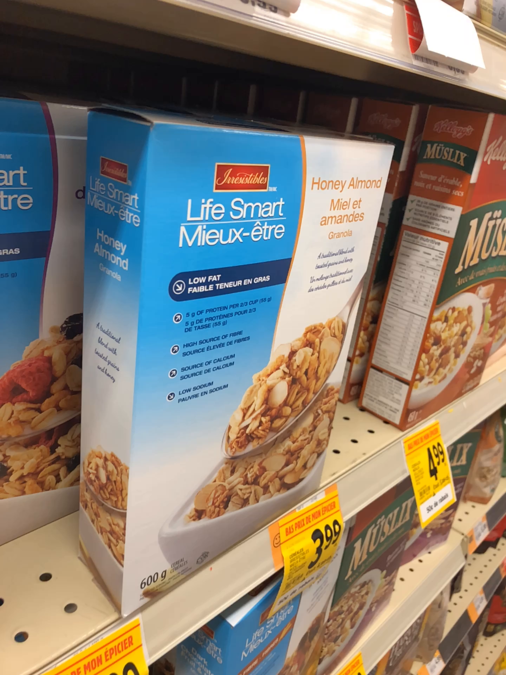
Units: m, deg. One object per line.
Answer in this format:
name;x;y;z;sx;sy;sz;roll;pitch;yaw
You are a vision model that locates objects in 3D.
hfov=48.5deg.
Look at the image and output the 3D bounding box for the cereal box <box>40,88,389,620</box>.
cereal box;-0.022;0.004;0.313;0.060;0.238;0.171;27;28;36
